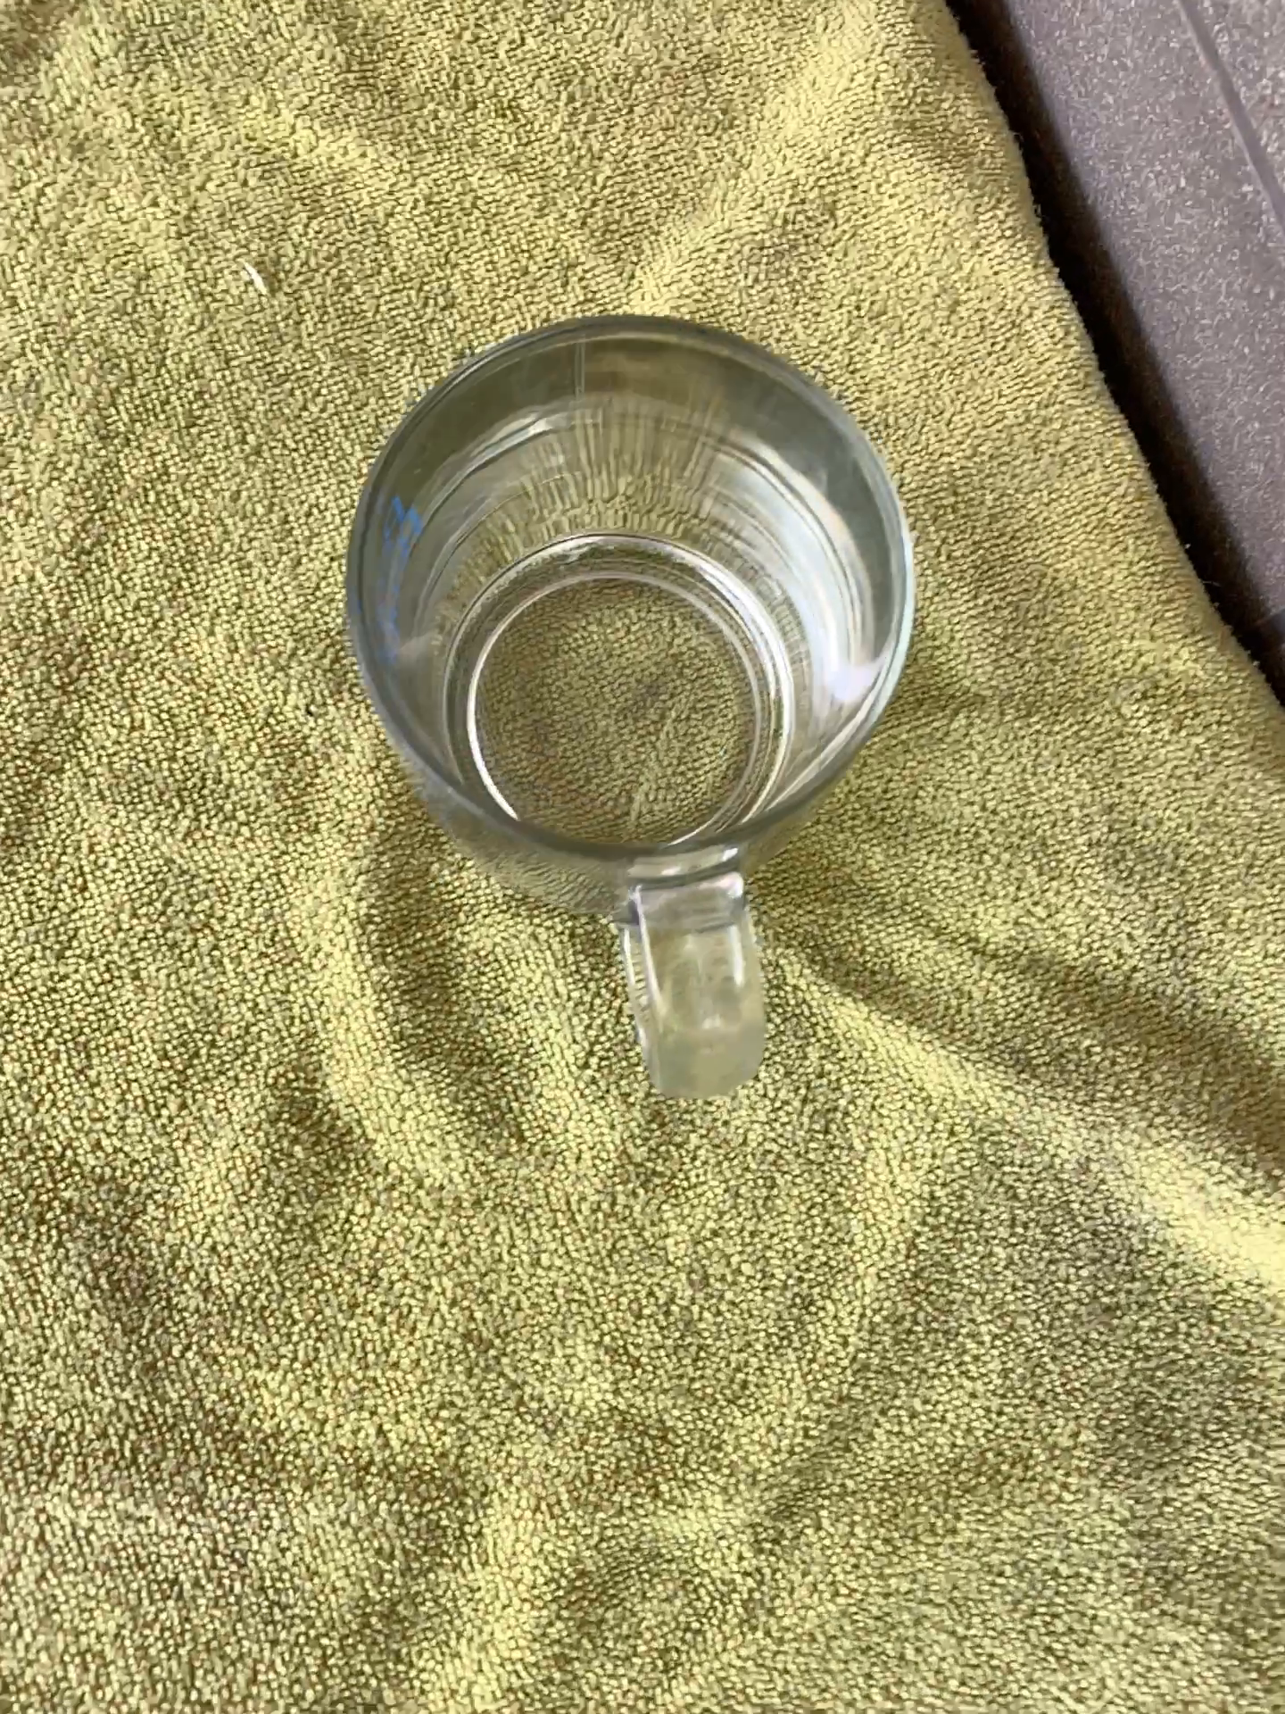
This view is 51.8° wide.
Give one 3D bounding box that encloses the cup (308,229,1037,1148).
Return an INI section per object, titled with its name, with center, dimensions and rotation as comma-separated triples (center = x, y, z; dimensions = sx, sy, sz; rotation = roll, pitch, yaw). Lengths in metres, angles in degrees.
[cup]
center = 0.000, -0.020, 0.233
dimensions = 0.080, 0.100, 0.120
rotation = -10, 82, -5
